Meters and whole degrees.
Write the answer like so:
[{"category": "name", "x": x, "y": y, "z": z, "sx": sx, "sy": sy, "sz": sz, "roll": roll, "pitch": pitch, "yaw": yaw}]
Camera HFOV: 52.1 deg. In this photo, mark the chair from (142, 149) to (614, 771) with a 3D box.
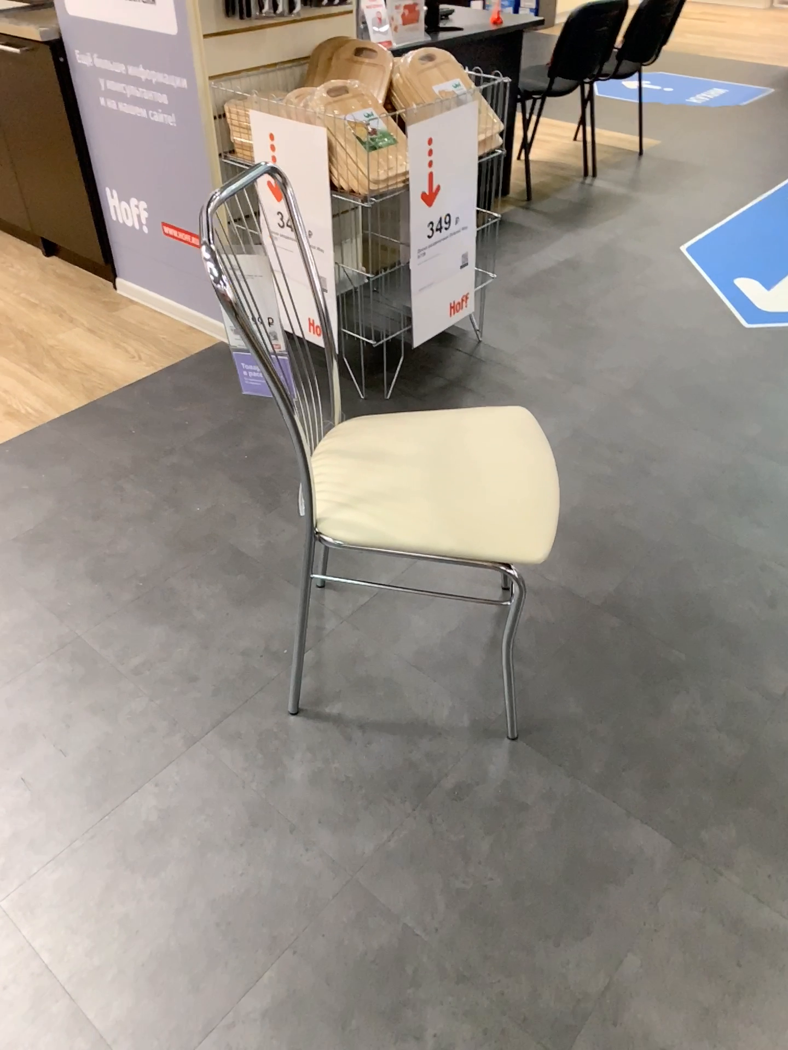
[{"category": "chair", "x": -0.001, "y": -0.075, "z": 1.424, "sx": 0.552, "sy": 0.964, "sz": 0.474, "roll": 4, "pitch": 40, "yaw": 4}]
